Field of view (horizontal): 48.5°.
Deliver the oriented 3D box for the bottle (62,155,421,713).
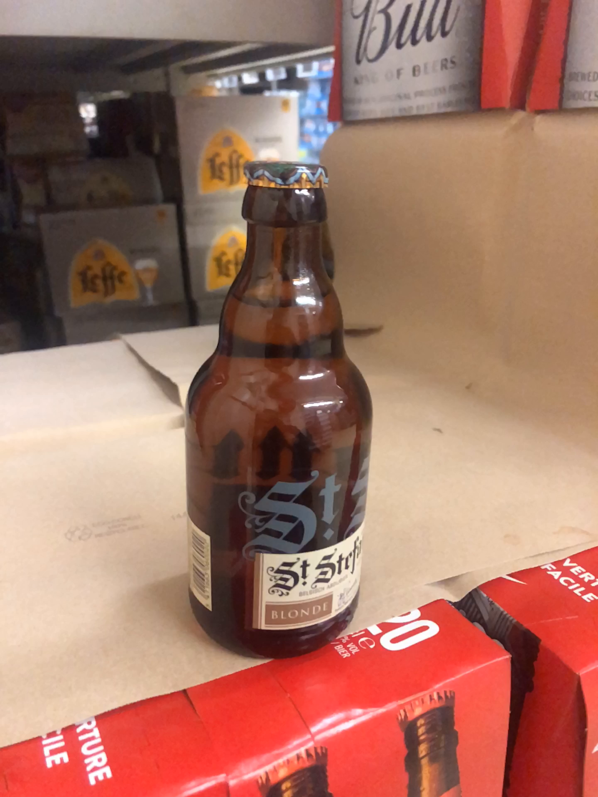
[{"bbox_3d":[-0.016,0.004,0.241,0.080,0.169,0.080,-1,21,0],"label":"bottle"}]
